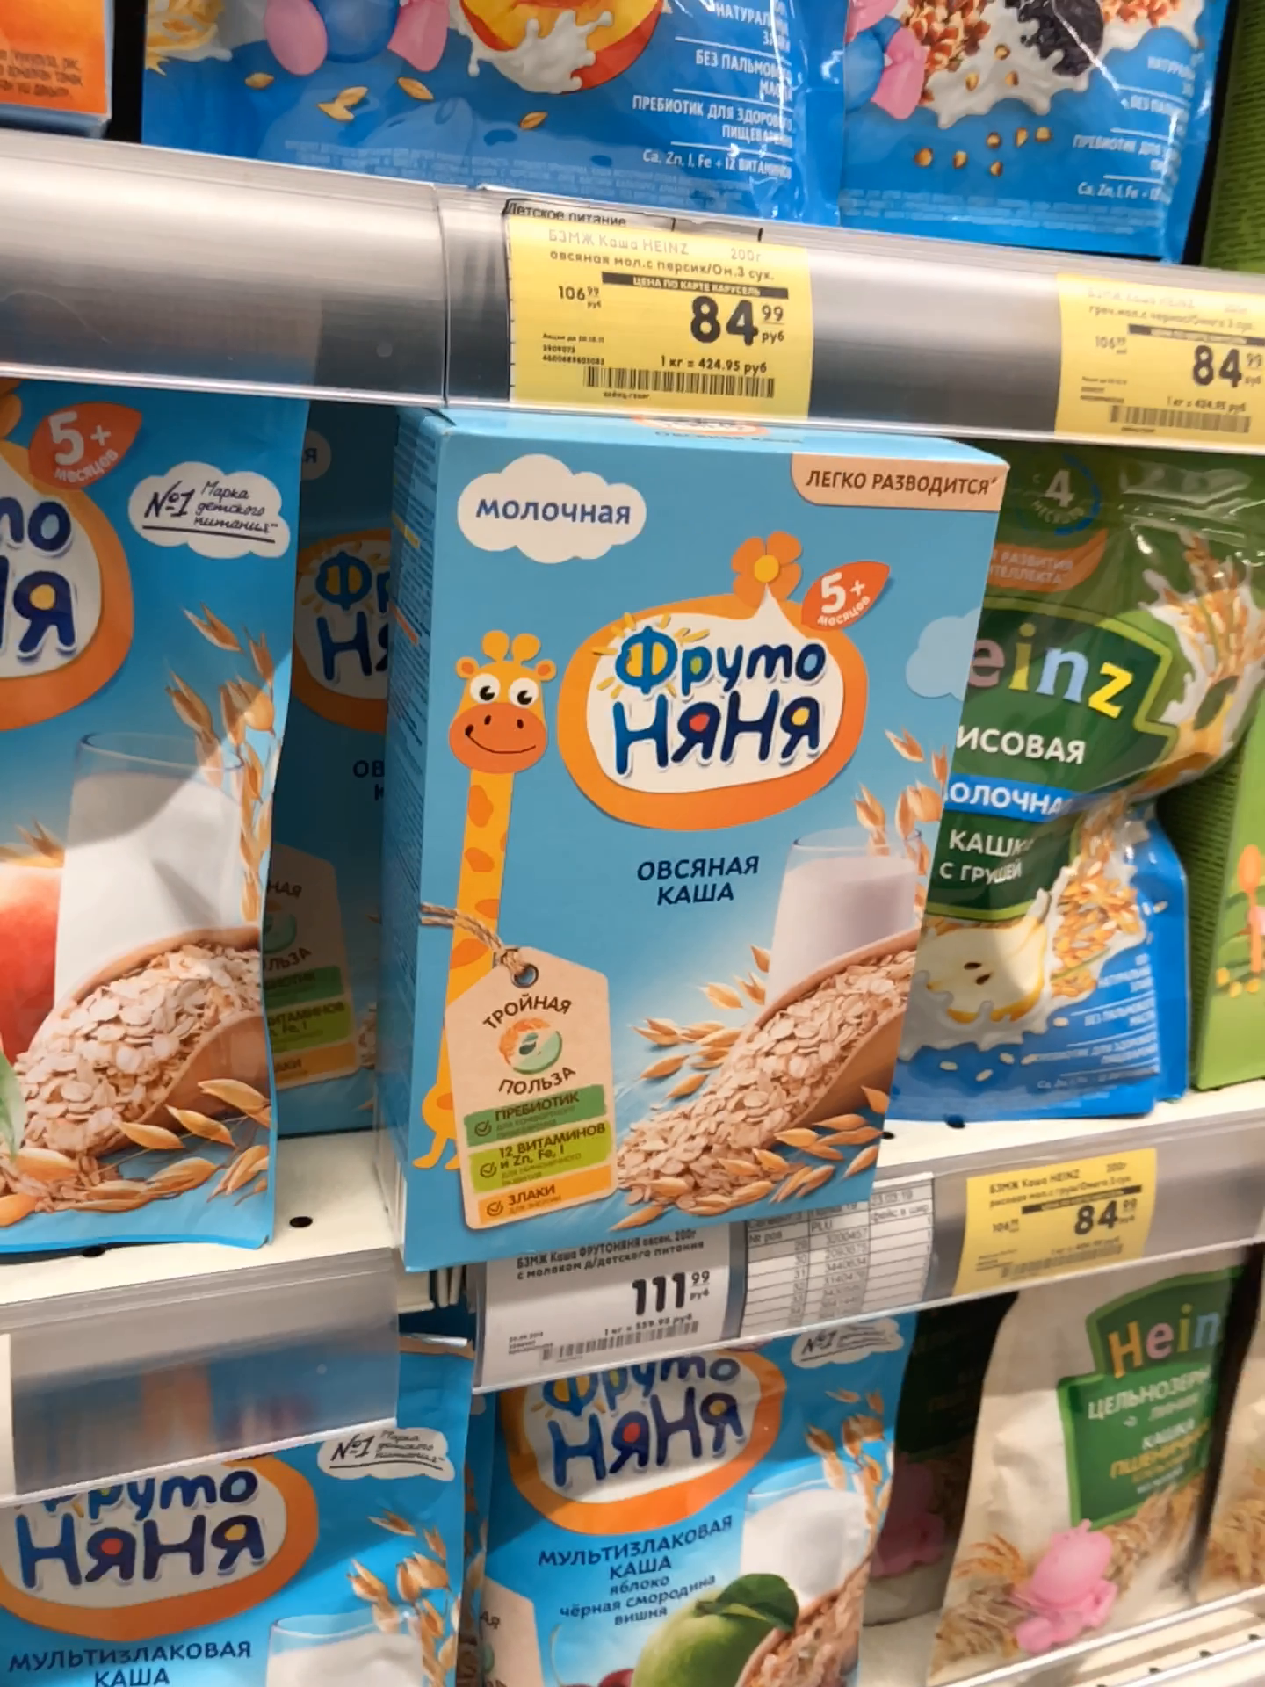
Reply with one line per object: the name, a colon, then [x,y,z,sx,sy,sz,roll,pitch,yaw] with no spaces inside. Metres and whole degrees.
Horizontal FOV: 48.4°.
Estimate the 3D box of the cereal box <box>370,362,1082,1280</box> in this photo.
cereal box: [0.014,-0.004,0.338,0.140,0.199,0.050,-3,23,-21]
